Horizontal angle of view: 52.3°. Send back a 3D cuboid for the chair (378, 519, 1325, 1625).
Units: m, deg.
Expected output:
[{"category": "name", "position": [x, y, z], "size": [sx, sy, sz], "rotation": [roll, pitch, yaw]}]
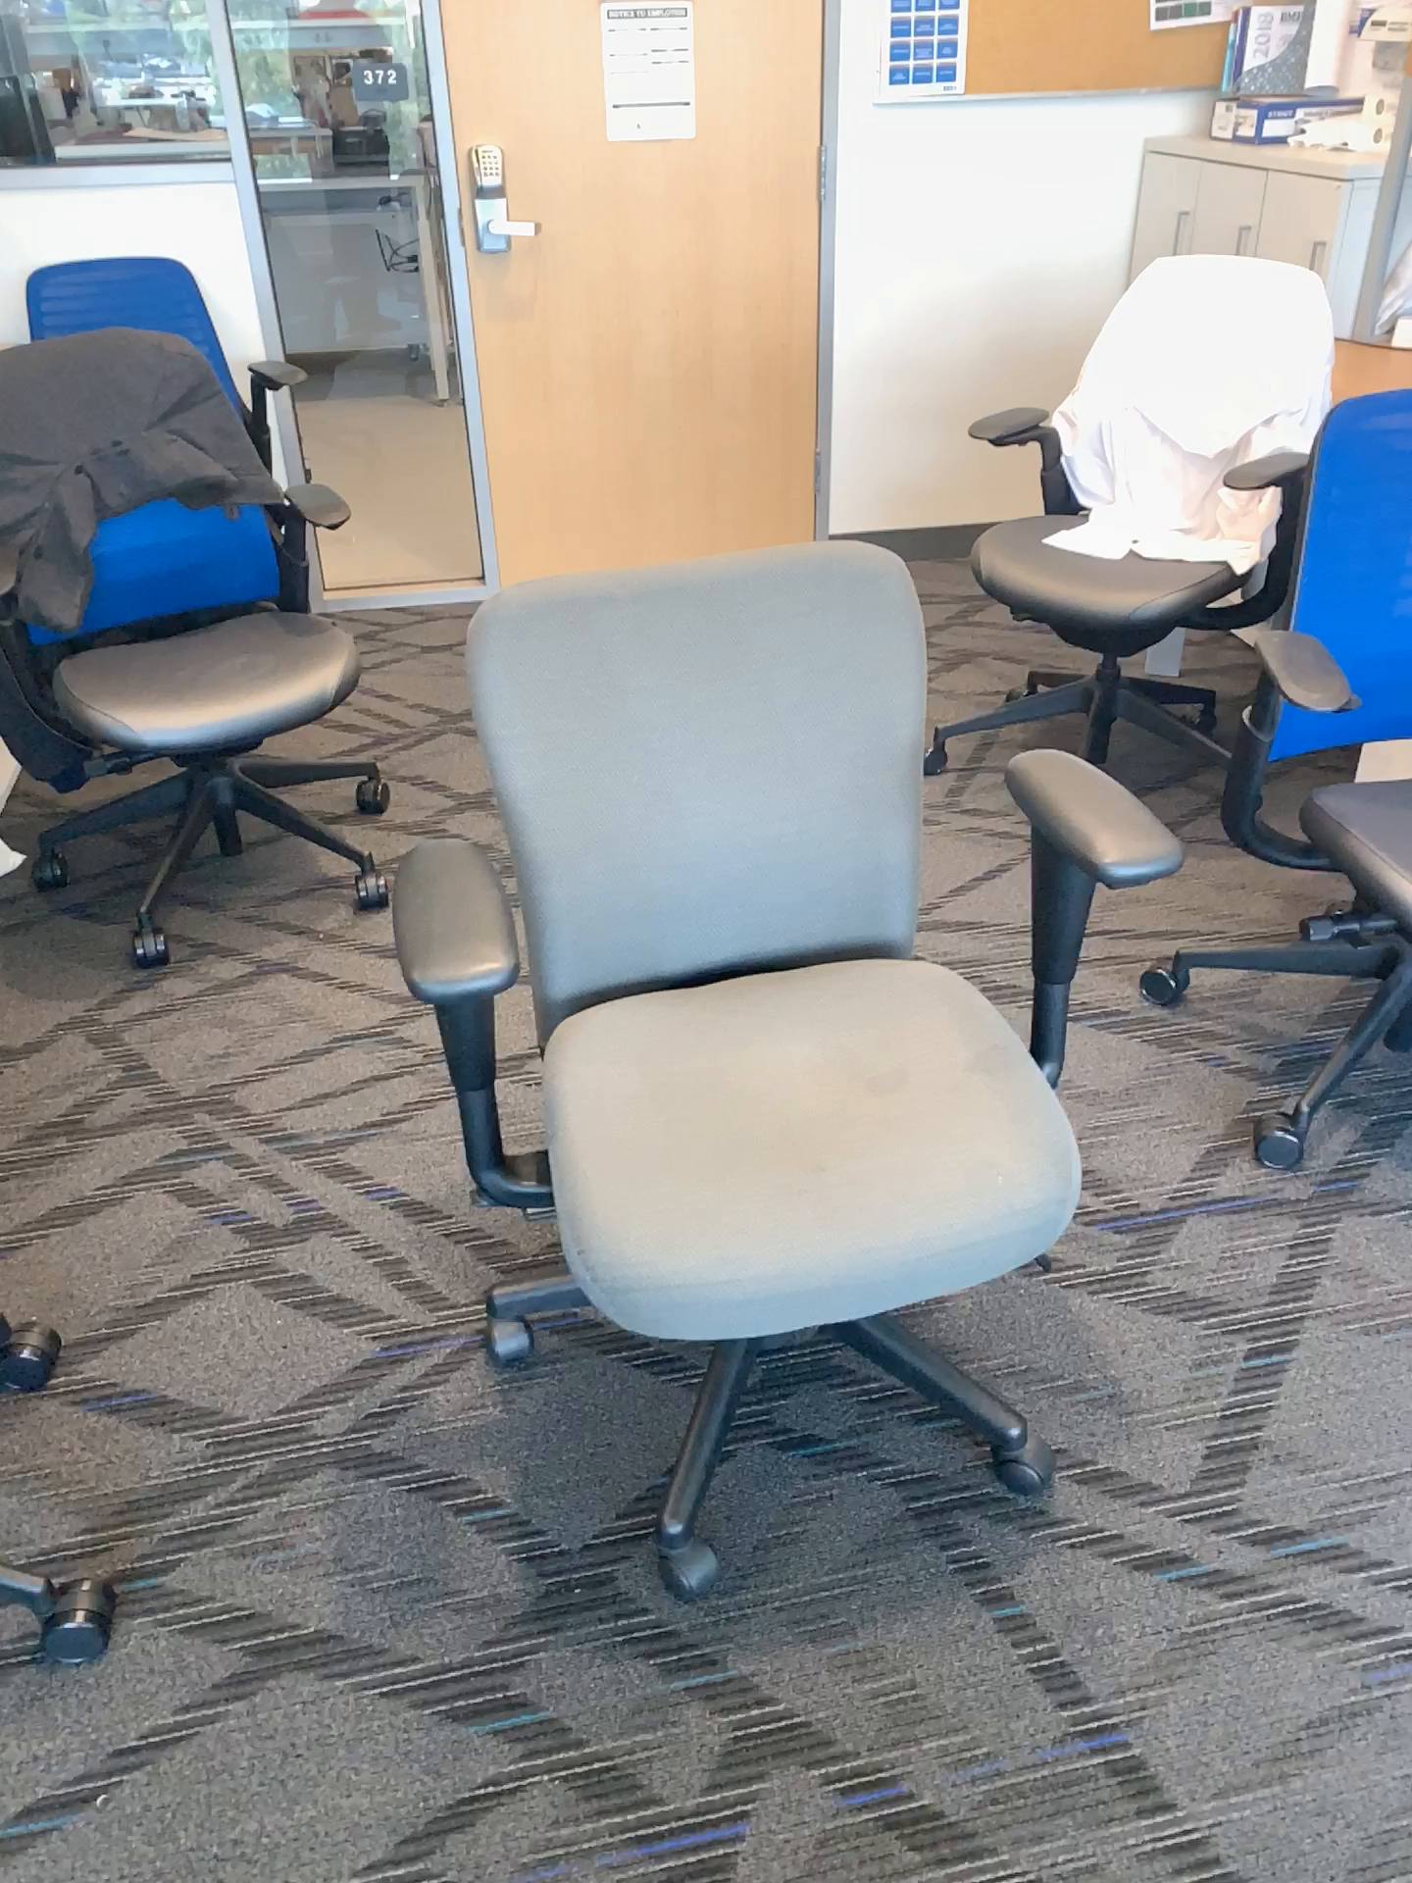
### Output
[{"category": "chair", "position": [0.066, 0.090, 1.477], "size": [0.670, 0.813, 0.666], "rotation": [-7, 32, -8]}]
